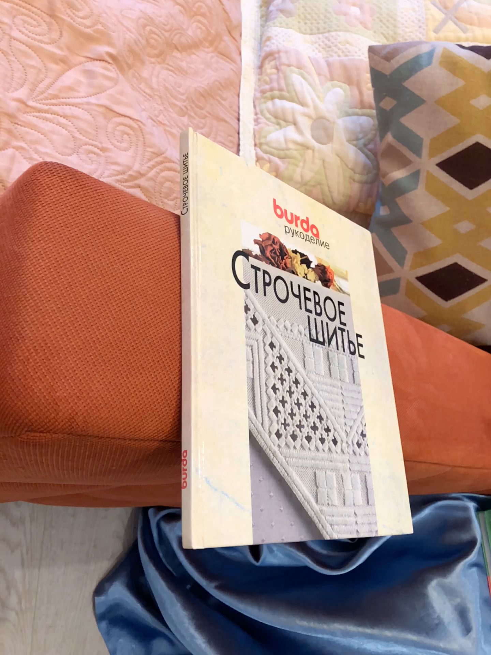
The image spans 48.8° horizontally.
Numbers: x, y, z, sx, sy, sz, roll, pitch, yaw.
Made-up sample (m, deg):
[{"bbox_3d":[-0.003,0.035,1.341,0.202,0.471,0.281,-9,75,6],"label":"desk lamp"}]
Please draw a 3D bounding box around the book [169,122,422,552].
[{"bbox_3d":[0.044,0.013,0.385,0.216,0.020,0.258,16,64,-41],"label":"book"}]
